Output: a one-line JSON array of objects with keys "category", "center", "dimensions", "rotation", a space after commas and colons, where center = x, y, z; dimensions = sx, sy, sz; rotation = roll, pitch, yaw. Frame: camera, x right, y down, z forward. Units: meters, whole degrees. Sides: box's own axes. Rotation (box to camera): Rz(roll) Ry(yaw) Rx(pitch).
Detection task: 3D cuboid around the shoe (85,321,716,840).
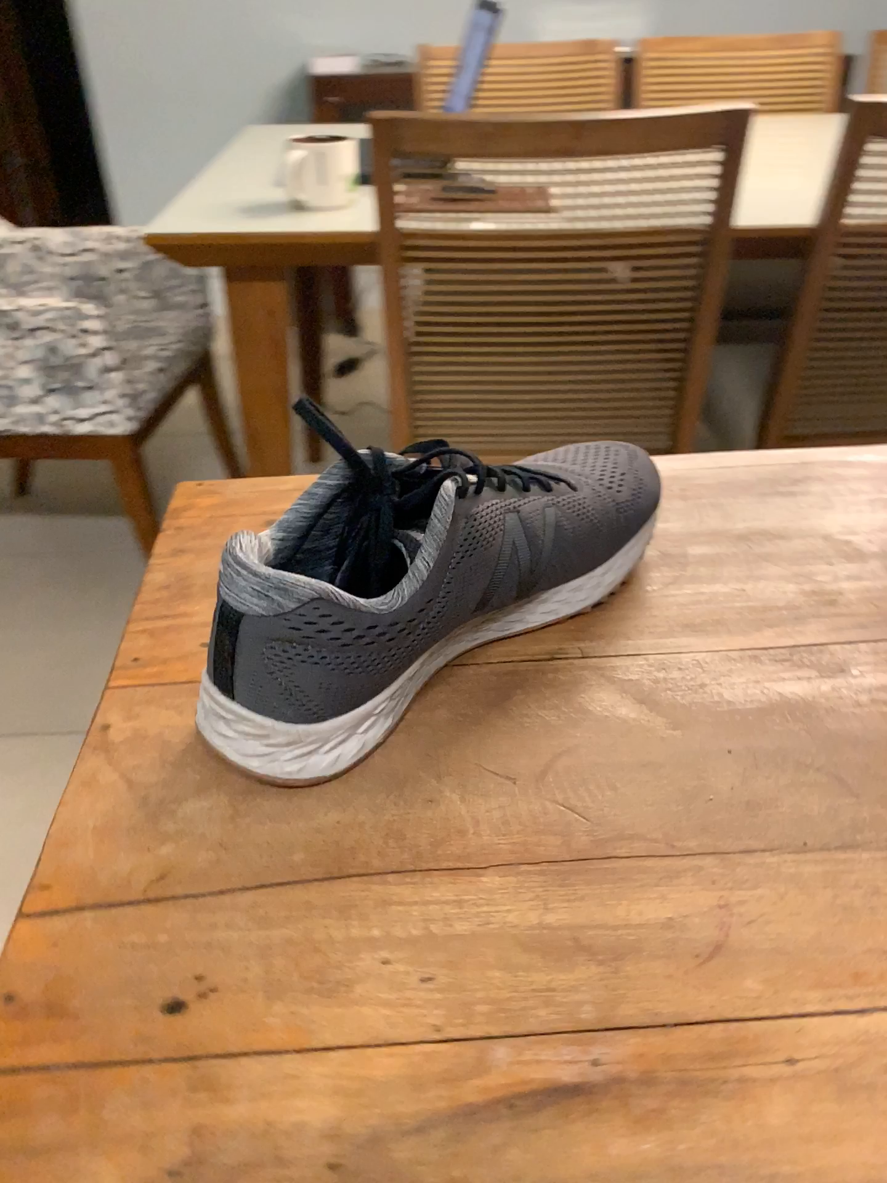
[{"category": "shoe", "center": [0.001, -0.031, 0.453], "dimensions": [0.110, 0.109, 0.301], "rotation": [27, 44, 35]}]
